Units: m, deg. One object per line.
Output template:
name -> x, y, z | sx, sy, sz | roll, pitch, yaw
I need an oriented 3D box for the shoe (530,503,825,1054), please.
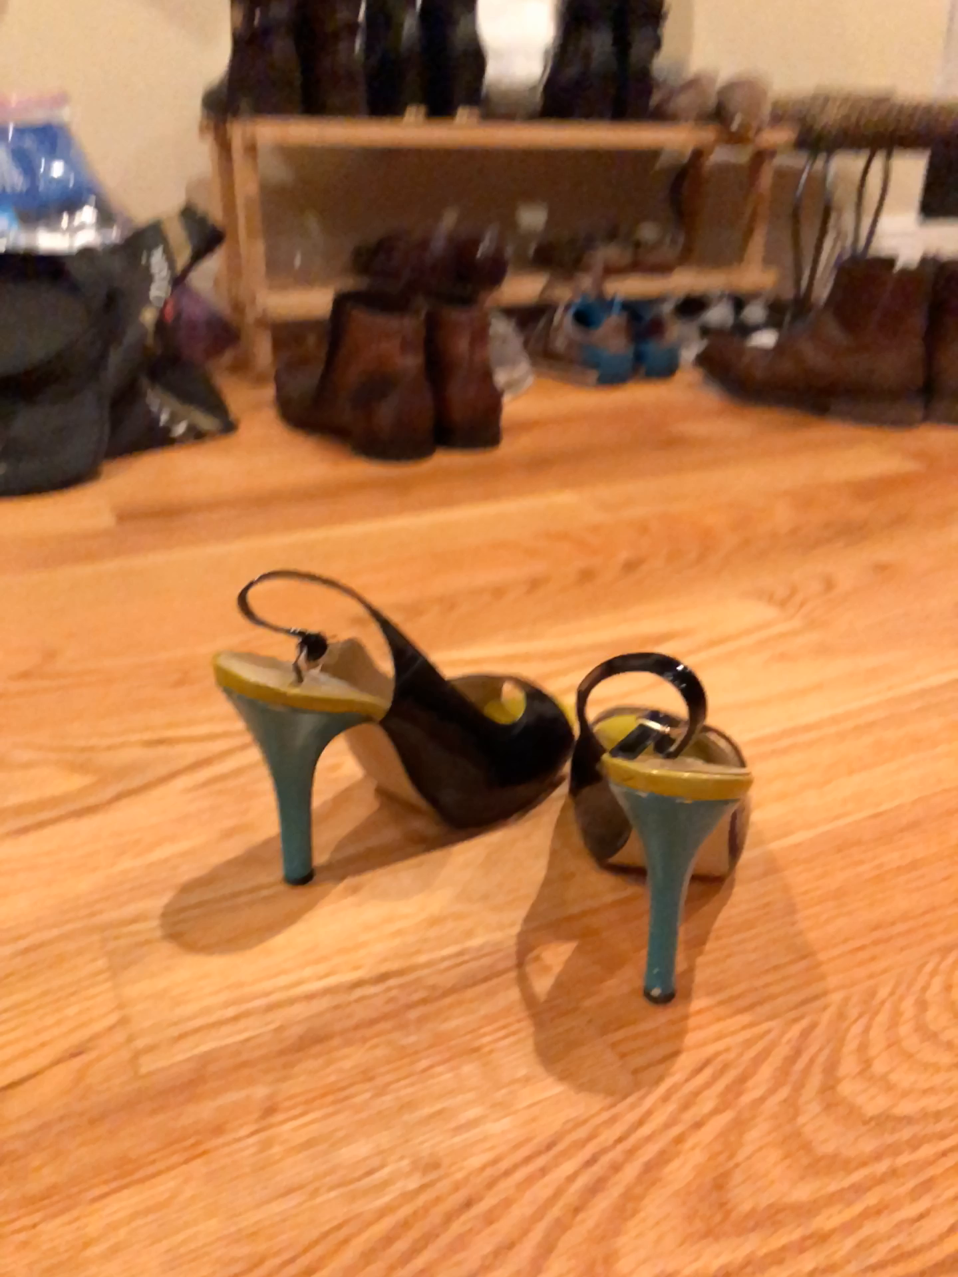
shoe -> 0.076, 0.041, 0.440 | 0.085, 0.131, 0.202 | 4, 26, 8

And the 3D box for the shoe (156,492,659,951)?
shoe -> -0.023, 0.023, 0.475 | 0.205, 0.121, 0.085 | -21, 33, -37
